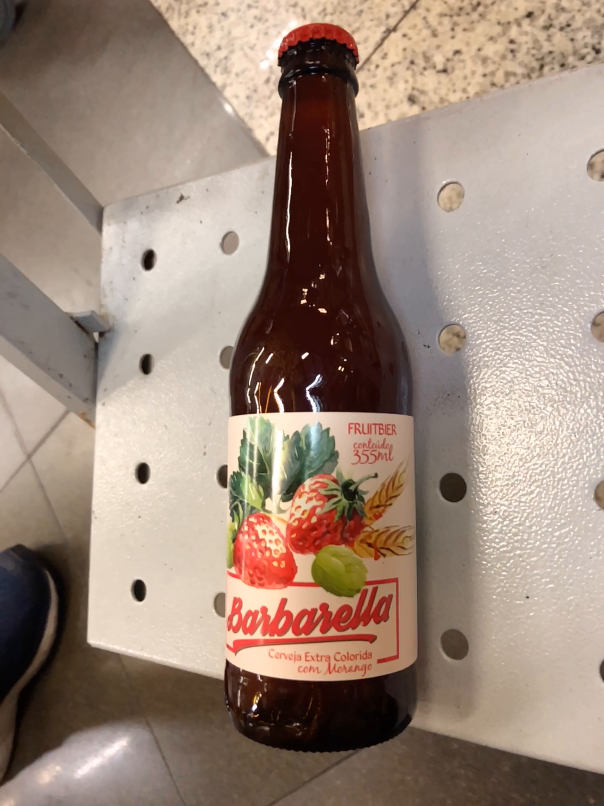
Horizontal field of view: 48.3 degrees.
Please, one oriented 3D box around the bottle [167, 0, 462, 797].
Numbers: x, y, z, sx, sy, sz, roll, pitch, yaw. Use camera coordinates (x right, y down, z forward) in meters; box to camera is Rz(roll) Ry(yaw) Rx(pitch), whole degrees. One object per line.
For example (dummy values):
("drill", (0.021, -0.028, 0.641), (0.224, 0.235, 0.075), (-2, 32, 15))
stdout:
("bottle", (0.003, -0.018, 0.222), (0.070, 0.060, 0.240), (-5, 82, 33))
